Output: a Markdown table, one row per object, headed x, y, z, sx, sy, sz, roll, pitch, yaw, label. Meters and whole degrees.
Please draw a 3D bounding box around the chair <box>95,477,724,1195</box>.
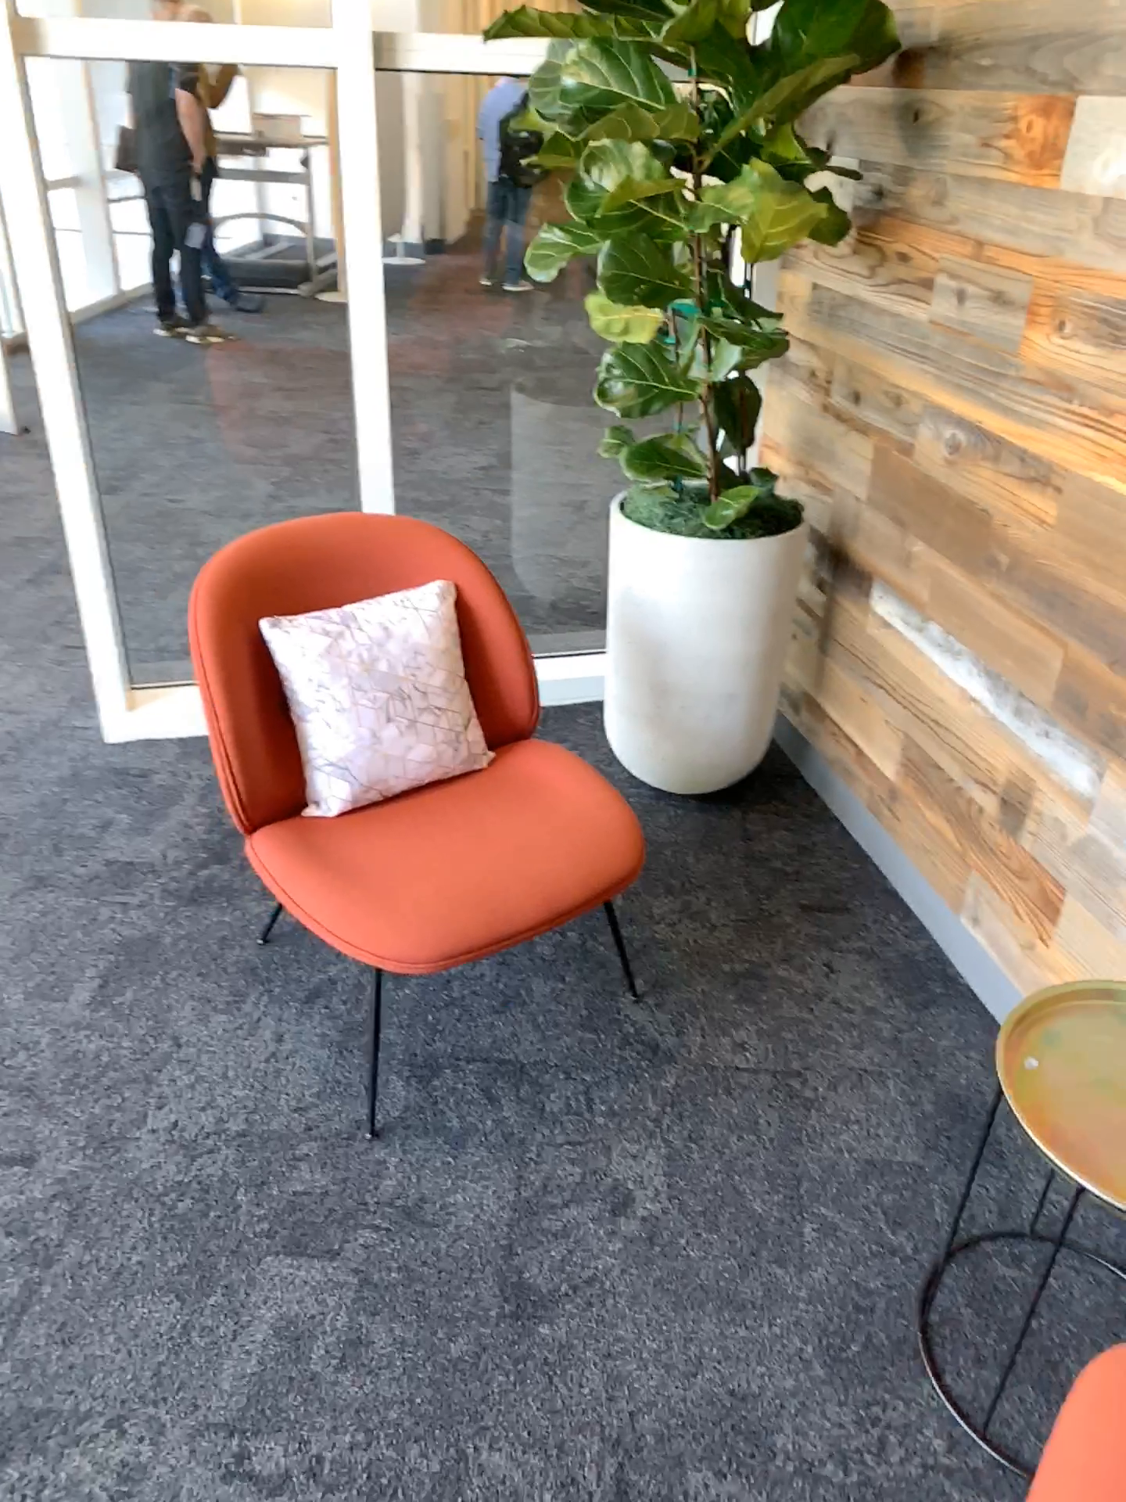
| x | y | z | sx | sy | sz | roll | pitch | yaw | label |
| --- | --- | --- | --- | --- | --- | --- | --- | --- | --- |
| -0.264 | 0.074 | 1.940 | 0.701 | 0.795 | 0.704 | -18 | 36 | -30 | chair |
